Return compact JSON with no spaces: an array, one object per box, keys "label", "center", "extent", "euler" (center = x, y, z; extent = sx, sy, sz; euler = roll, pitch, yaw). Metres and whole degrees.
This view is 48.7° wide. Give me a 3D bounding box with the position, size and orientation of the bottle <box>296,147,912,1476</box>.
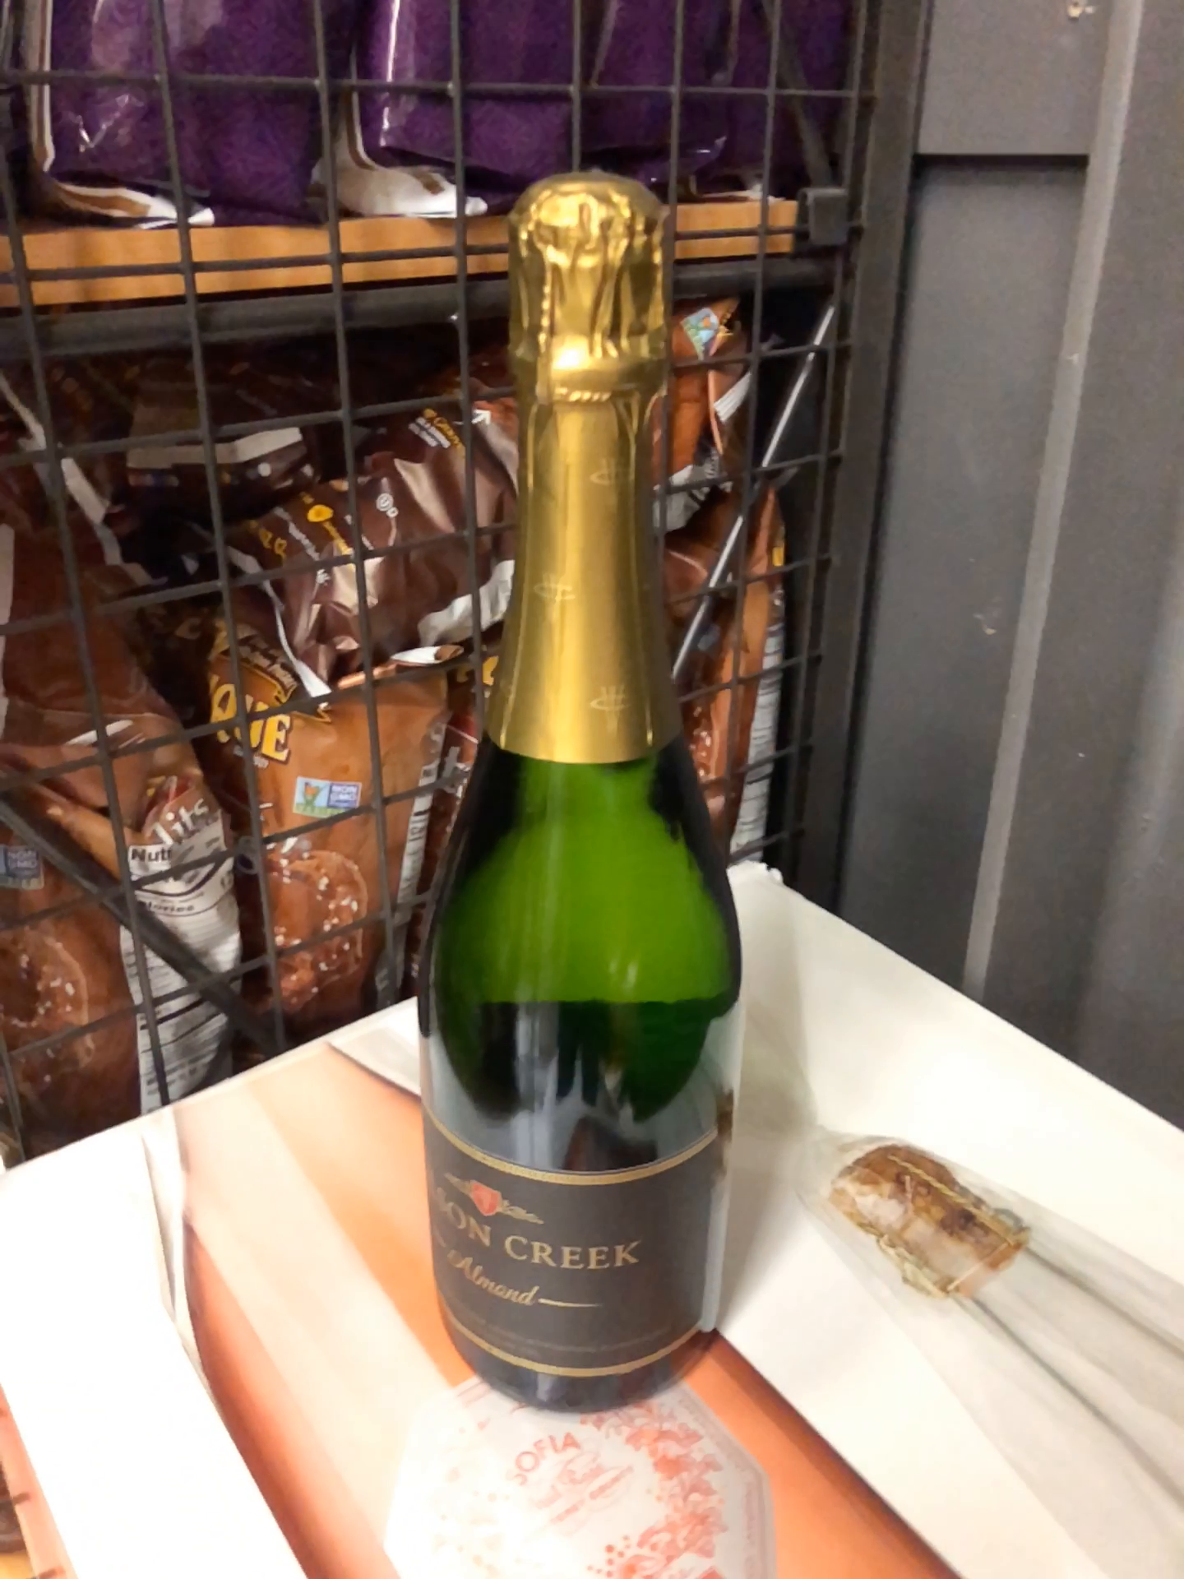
[{"label":"bottle","center":[0.005,0.012,0.327],"extent":[0.090,0.309,0.090],"euler":[0,26,0]}]
